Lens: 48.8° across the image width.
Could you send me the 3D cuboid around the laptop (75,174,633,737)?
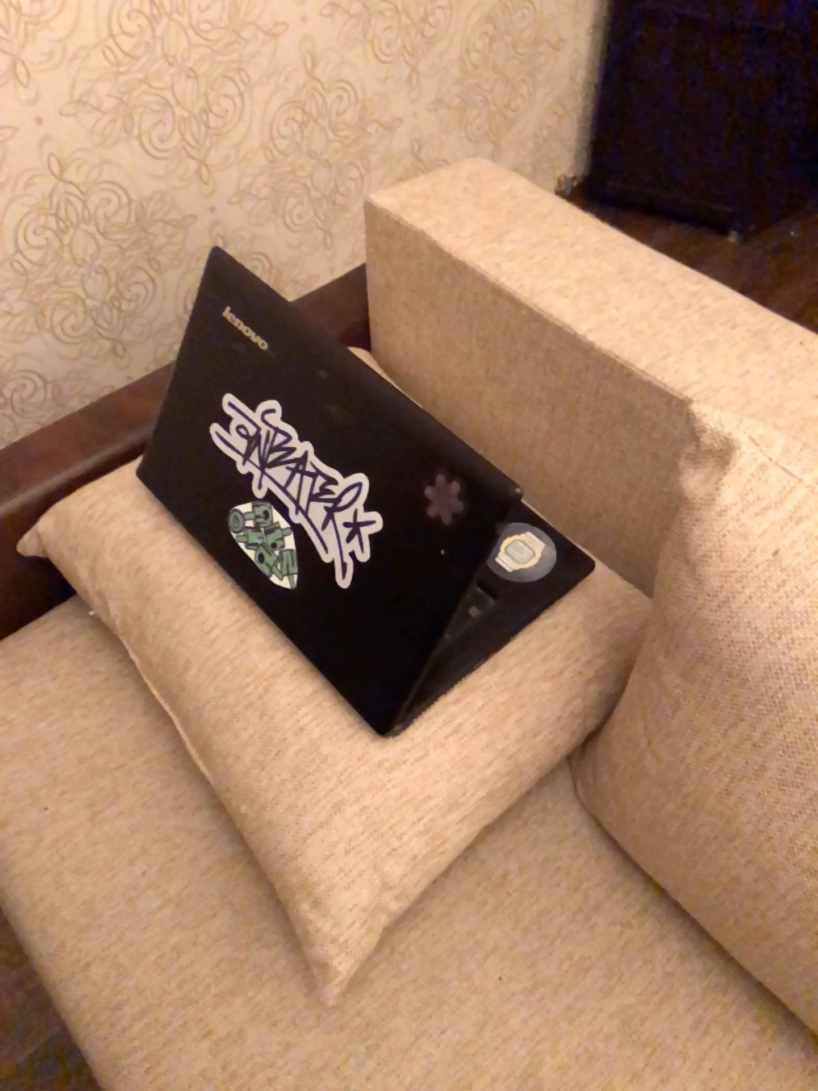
[{"bbox_3d":[-0.058,-0.102,0.844,0.267,0.223,0.414,-36,60,-22],"label":"laptop"}]
